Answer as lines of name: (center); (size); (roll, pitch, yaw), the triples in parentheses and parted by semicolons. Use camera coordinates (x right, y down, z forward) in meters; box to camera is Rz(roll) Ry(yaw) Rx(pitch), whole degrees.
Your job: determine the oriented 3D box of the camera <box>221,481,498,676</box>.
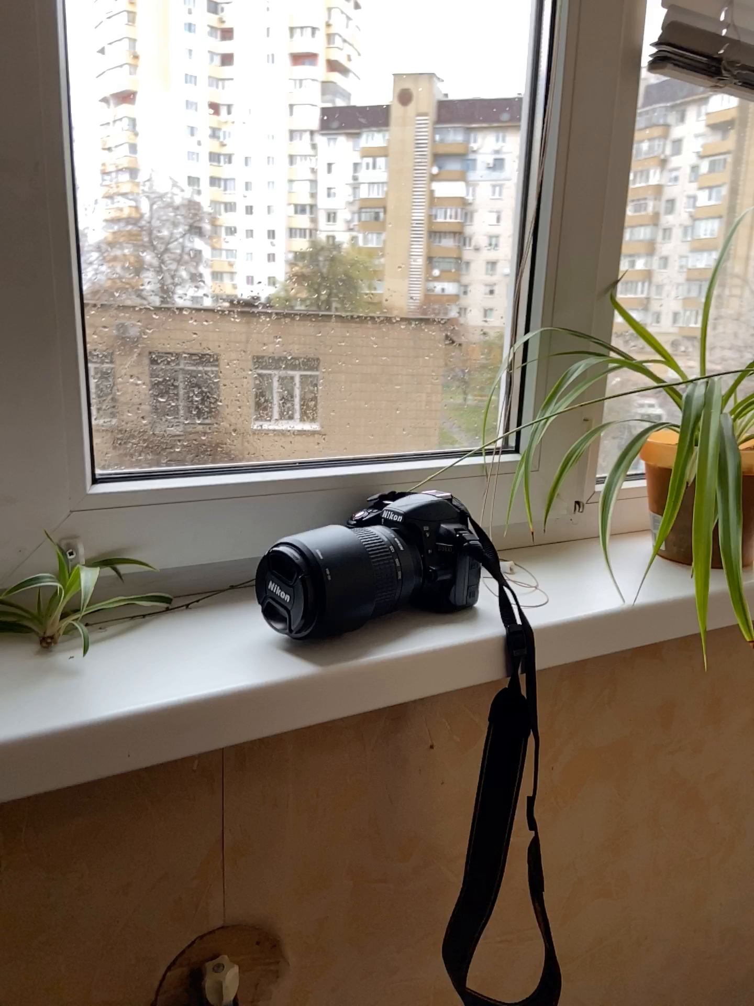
camera: (-0.012, 0.050, 0.633); (0.191, 0.089, 0.125); (-12, 20, -43)
